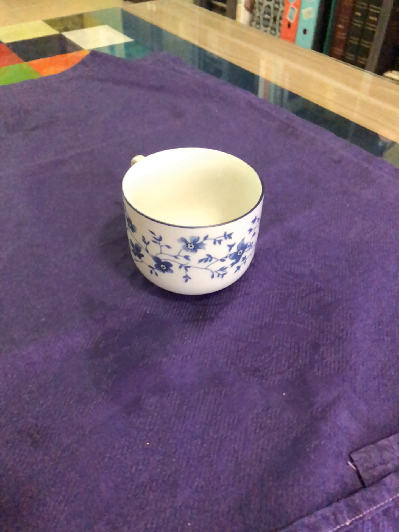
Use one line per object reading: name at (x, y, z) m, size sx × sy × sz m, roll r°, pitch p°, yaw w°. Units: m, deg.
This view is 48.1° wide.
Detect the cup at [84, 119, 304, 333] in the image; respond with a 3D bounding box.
cup at (-0.006, -0.029, 0.258) m, size 0.070 × 0.060 × 0.100 m, roll -29°, pitch 51°, yaw -27°
